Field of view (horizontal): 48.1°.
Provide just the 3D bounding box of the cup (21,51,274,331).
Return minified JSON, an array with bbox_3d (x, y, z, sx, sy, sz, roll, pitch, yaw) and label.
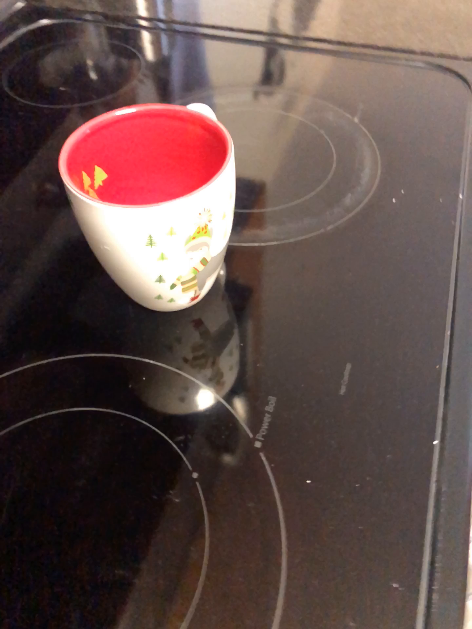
[{"bbox_3d":[-0.042,-0.083,0.342,0.100,0.100,0.140,11,52,11],"label":"cup"}]
